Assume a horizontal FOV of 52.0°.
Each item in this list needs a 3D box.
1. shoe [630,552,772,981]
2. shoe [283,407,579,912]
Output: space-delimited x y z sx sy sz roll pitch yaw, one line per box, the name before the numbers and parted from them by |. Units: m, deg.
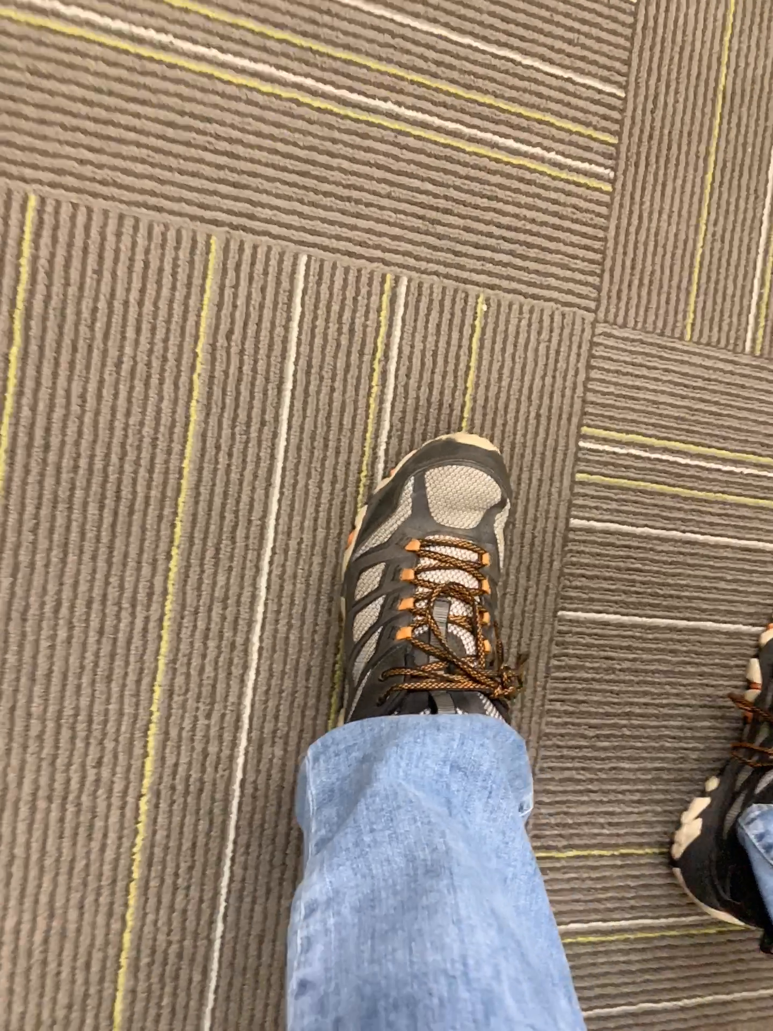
shoe | 0.359 0.206 0.689 0.123 0.095 0.322 33 83 -18
shoe | 0.027 0.098 0.566 0.126 0.095 0.323 11 90 -19
